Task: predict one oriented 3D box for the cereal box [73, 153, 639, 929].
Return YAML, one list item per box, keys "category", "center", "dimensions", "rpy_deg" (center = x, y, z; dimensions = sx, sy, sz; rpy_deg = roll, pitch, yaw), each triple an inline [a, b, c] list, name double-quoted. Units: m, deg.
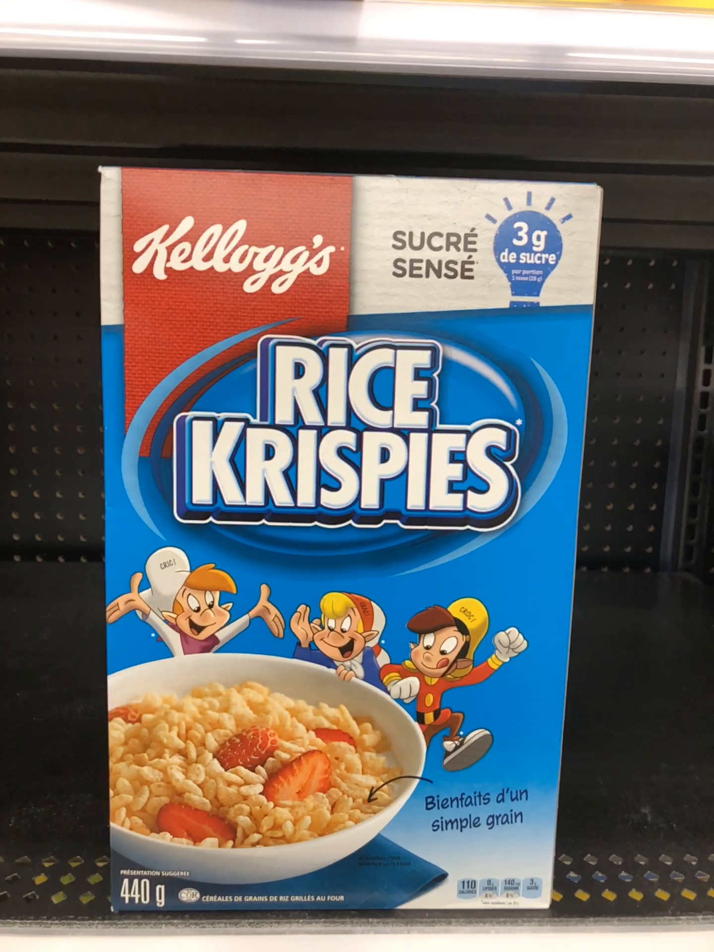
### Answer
- category: "cereal box"
  center: [-0.004, 0.031, 0.341]
  dimensions: [0.200, 0.299, 0.080]
  rpy_deg: [1, 9, -2]
